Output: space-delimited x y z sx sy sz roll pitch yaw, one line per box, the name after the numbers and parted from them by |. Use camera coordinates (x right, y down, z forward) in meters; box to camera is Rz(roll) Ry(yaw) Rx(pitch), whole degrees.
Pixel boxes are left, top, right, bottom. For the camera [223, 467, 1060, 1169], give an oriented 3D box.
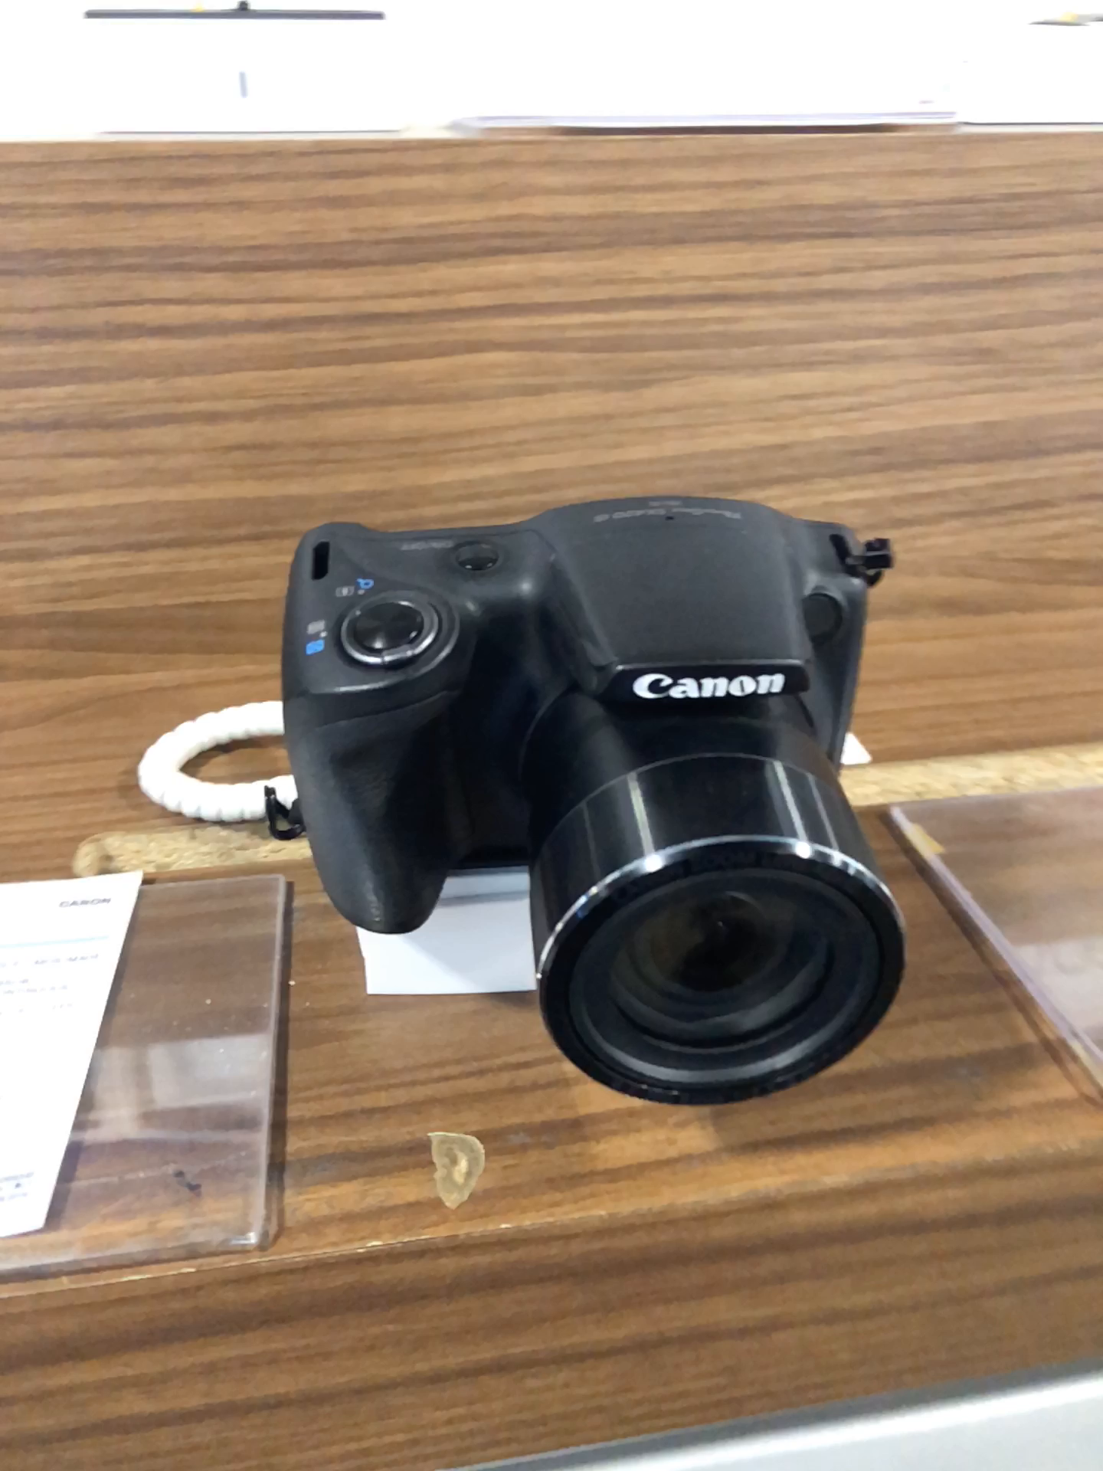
0.007 0.005 0.199 0.100 0.070 0.091 -4 27 -7 | camera
